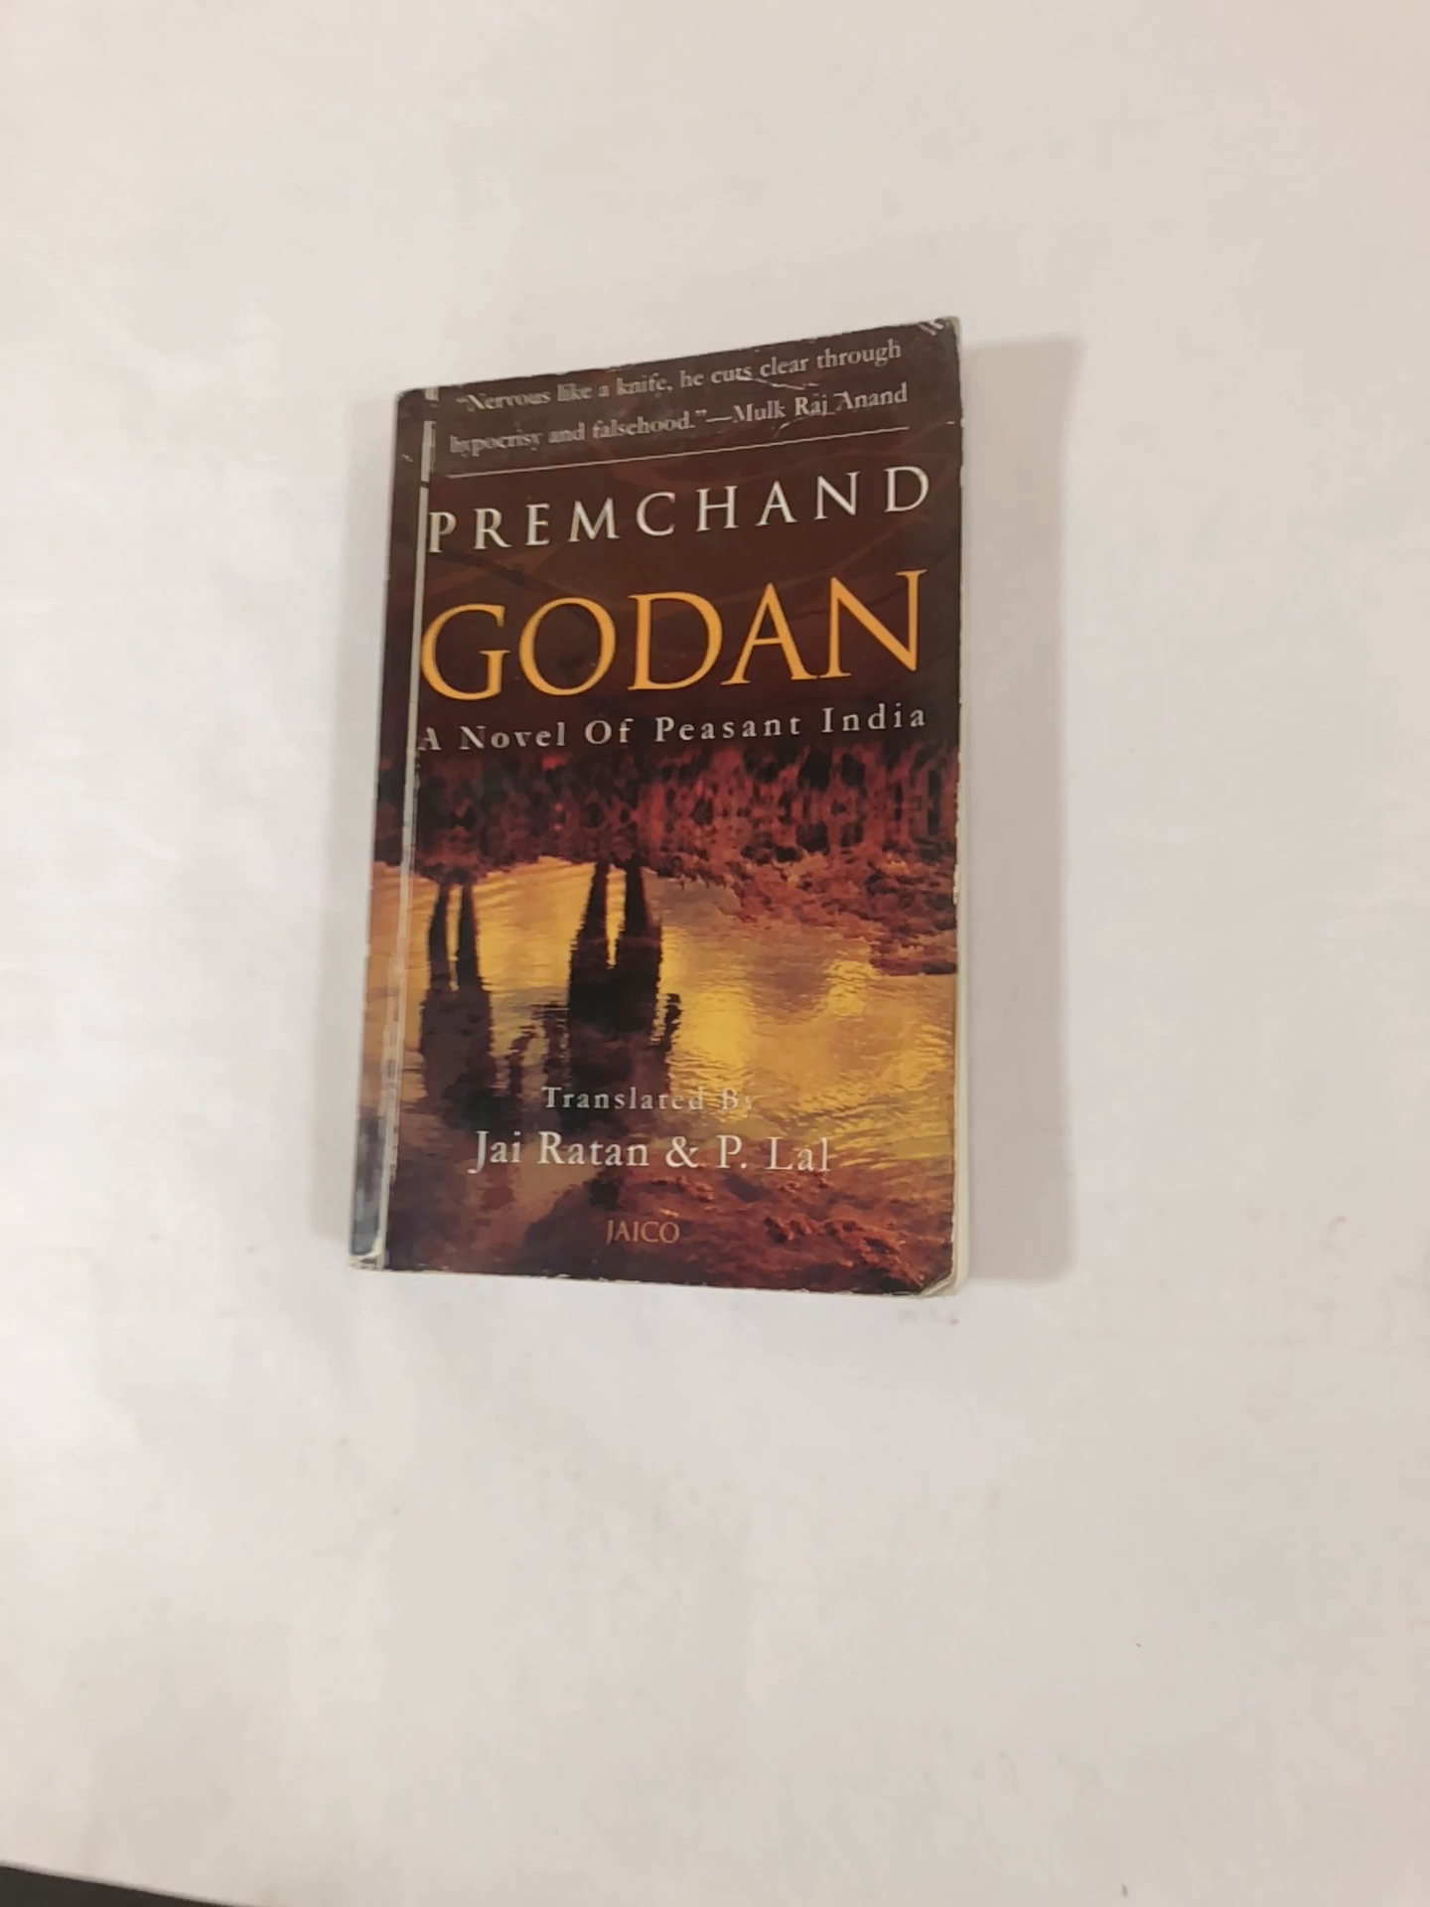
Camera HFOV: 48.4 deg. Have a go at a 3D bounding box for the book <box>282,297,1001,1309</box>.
[{"bbox_3d":[-0.015,-0.033,0.358,0.150,0.030,0.210,0,82,17],"label":"book"}]
